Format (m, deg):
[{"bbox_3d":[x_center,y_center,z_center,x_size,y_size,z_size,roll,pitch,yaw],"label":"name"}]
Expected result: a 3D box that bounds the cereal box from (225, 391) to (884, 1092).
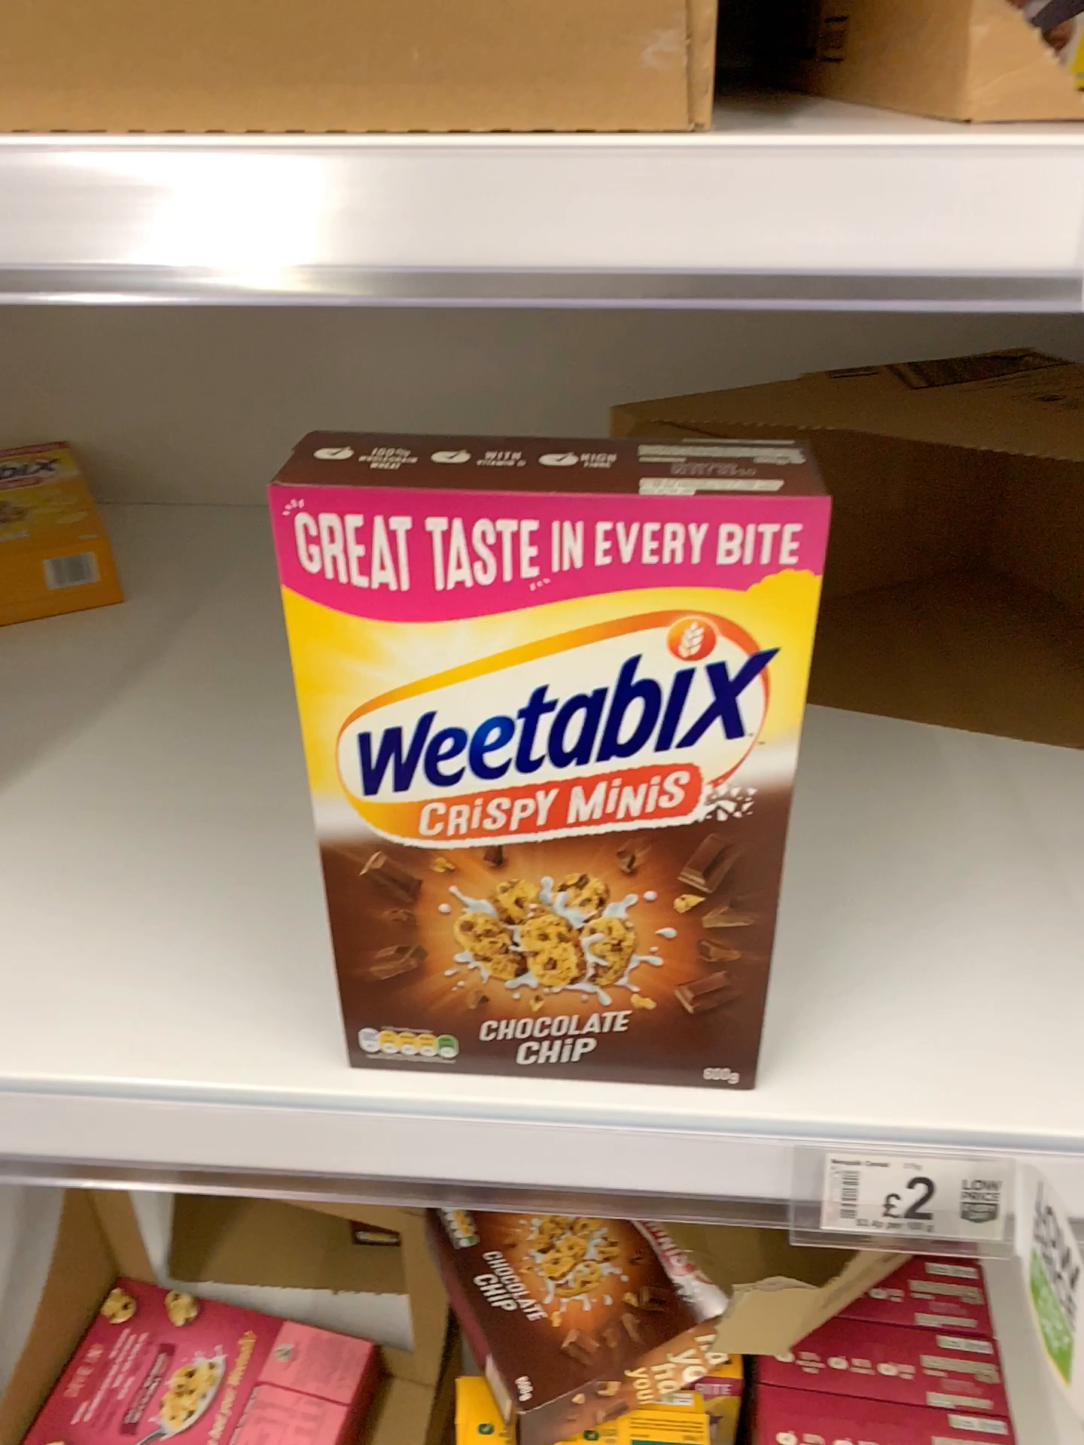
[{"bbox_3d":[0.006,0.020,0.457,0.210,0.287,0.071,2,32,4],"label":"cereal box"}]
